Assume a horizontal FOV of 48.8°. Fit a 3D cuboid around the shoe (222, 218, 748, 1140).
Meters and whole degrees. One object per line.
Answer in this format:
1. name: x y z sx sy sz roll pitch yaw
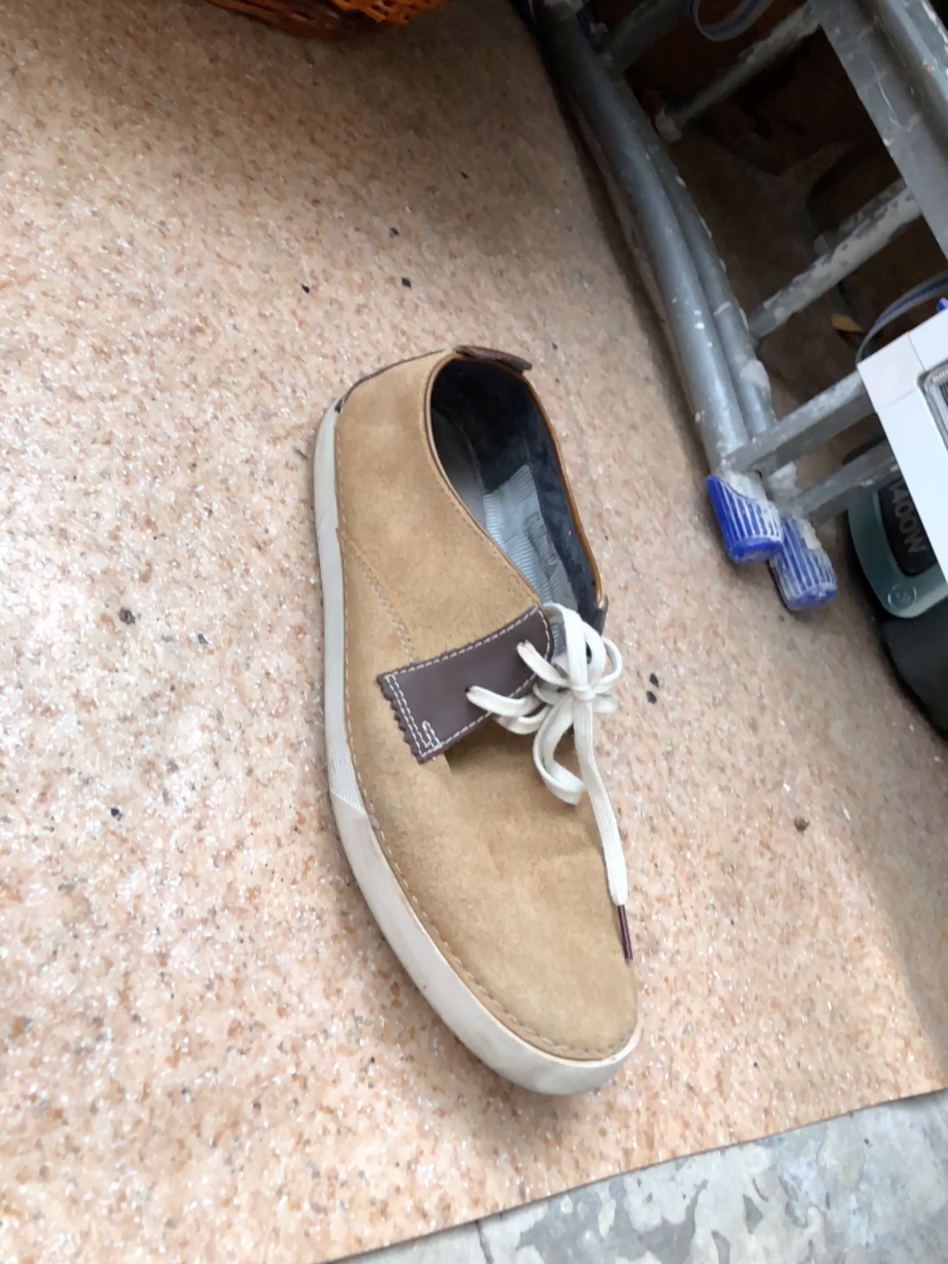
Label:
1. shoe: -0.009 0.010 0.389 0.110 0.089 0.301 9 60 -41
